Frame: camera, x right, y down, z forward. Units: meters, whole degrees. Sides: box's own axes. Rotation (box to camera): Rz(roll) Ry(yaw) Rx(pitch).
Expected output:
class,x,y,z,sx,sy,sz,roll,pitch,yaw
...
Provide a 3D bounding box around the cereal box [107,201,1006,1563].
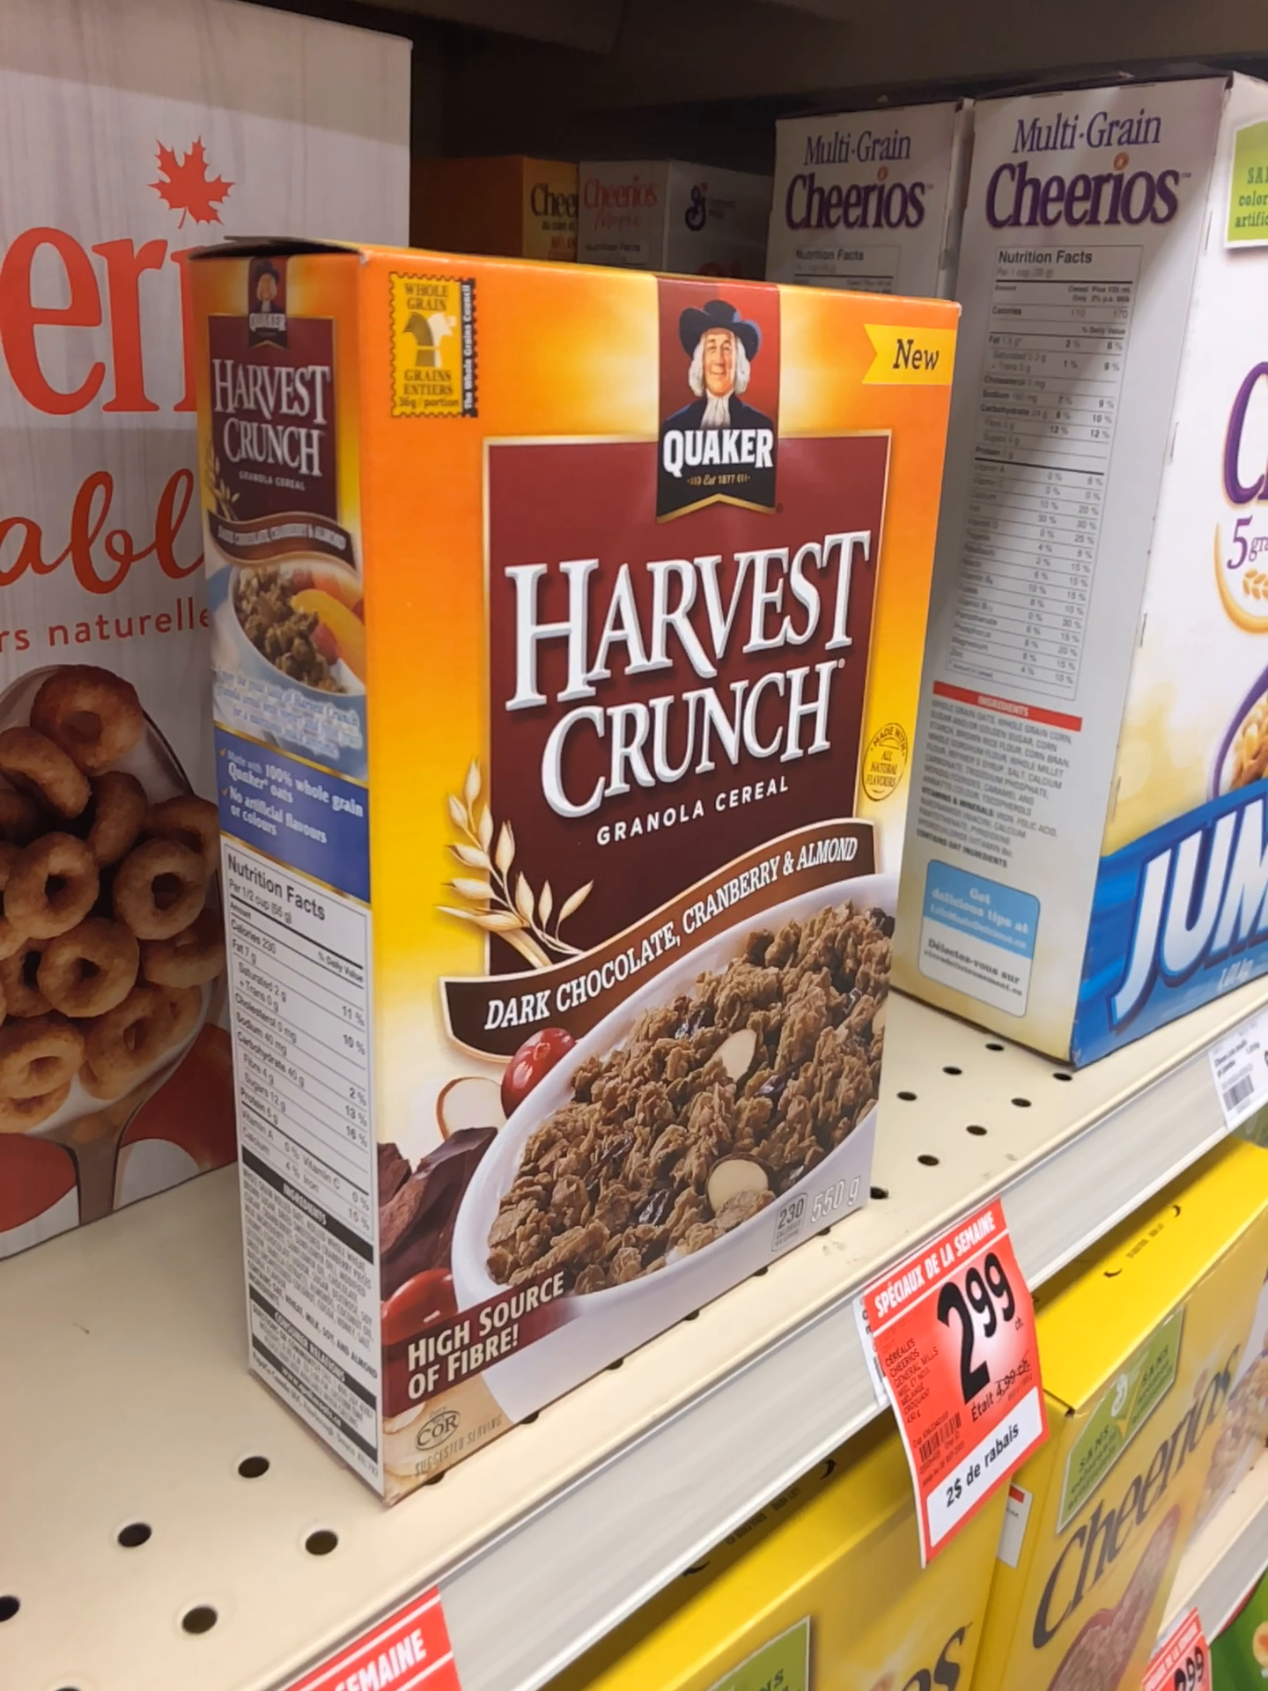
class,x,y,z,sx,sy,sz,roll,pitch,yaw
cereal box,-0.009,-0.001,0.305,0.171,0.238,0.060,-16,27,-41
